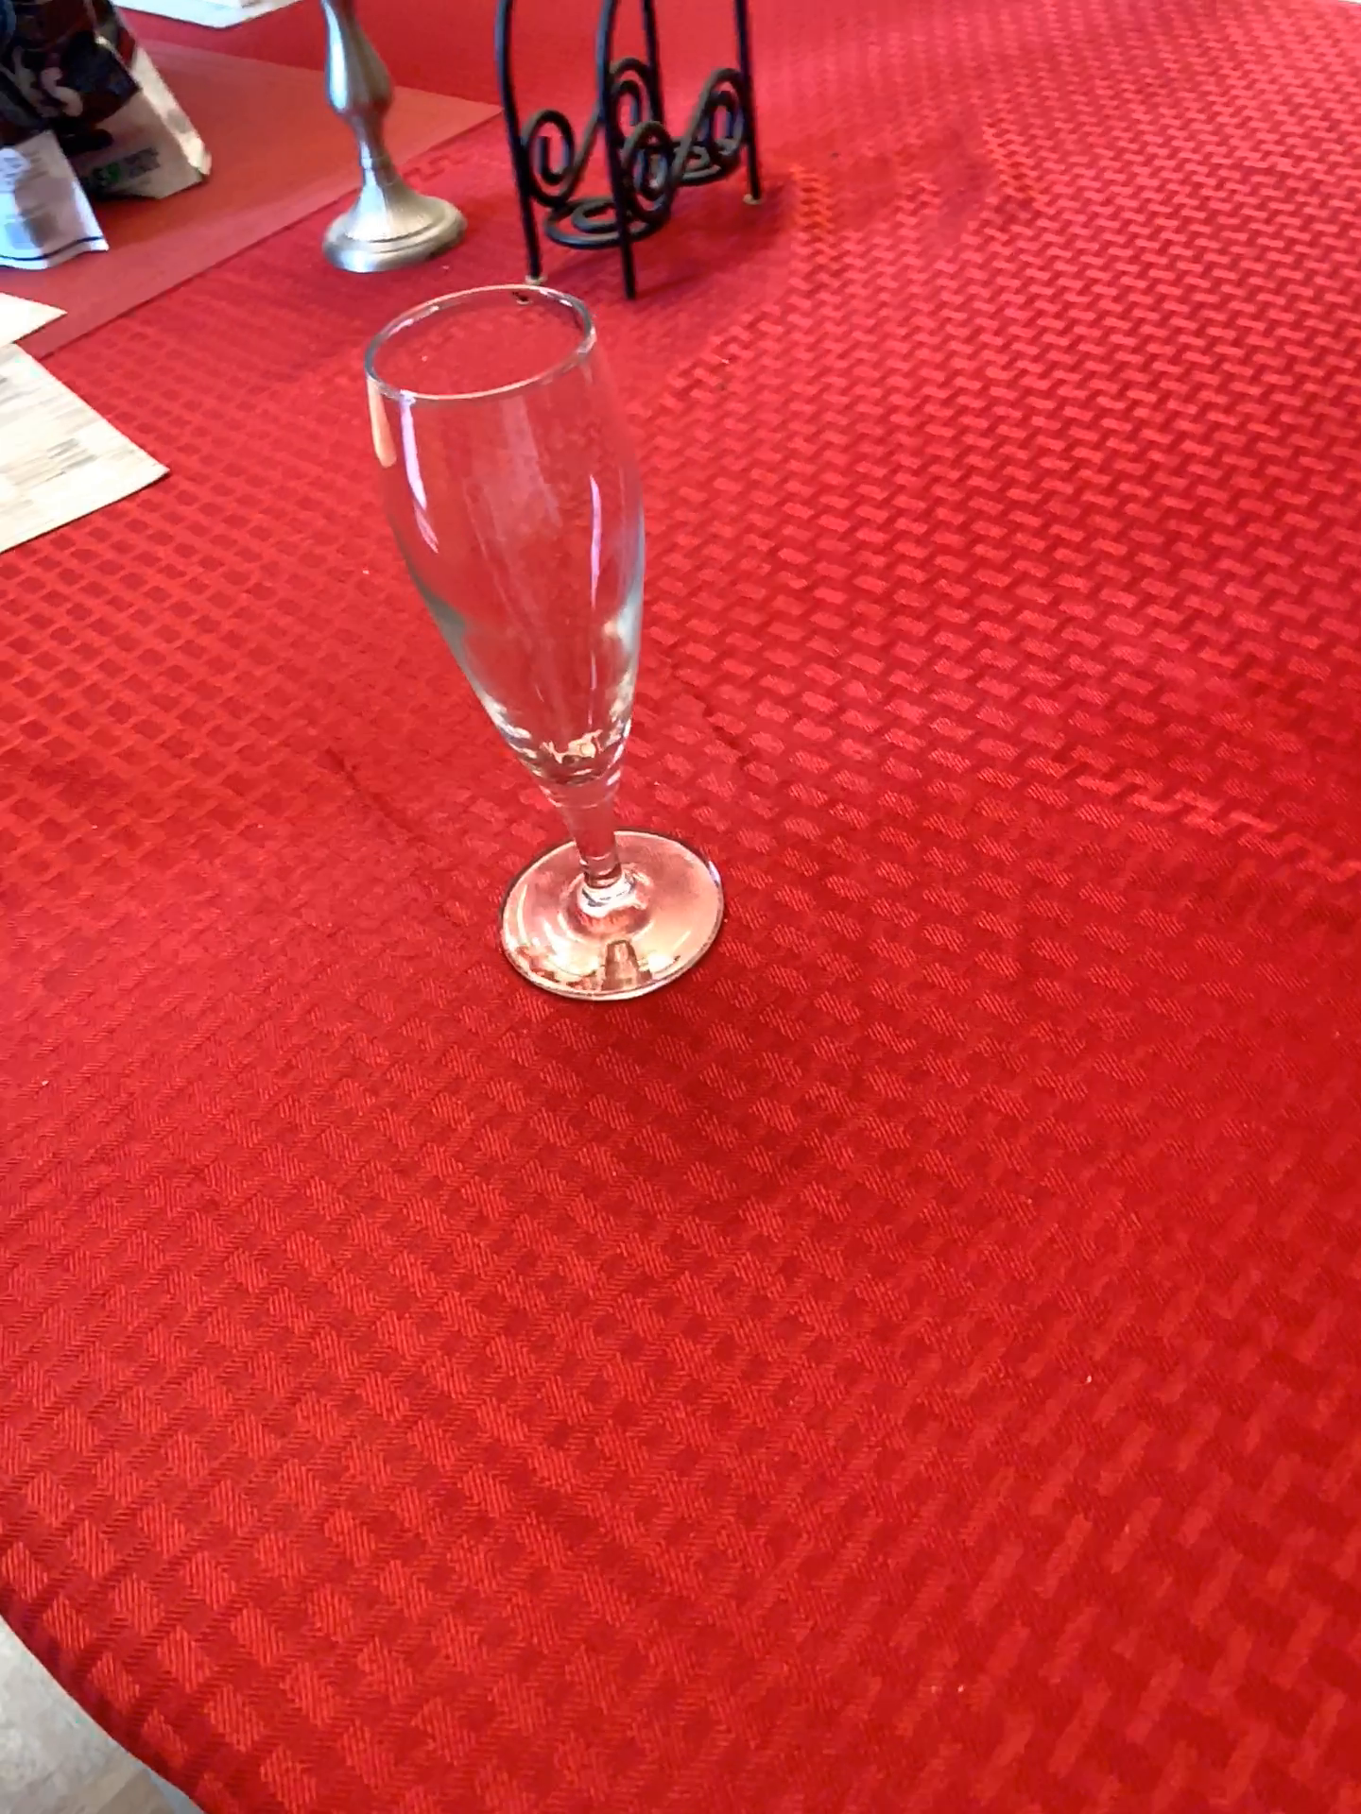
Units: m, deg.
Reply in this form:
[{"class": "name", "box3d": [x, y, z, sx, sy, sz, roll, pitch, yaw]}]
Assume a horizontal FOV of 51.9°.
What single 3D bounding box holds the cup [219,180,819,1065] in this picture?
[{"class": "cup", "box3d": [-0.027, -0.060, 0.340, 0.080, 0.179, 0.080, -4, 48, 5]}]
